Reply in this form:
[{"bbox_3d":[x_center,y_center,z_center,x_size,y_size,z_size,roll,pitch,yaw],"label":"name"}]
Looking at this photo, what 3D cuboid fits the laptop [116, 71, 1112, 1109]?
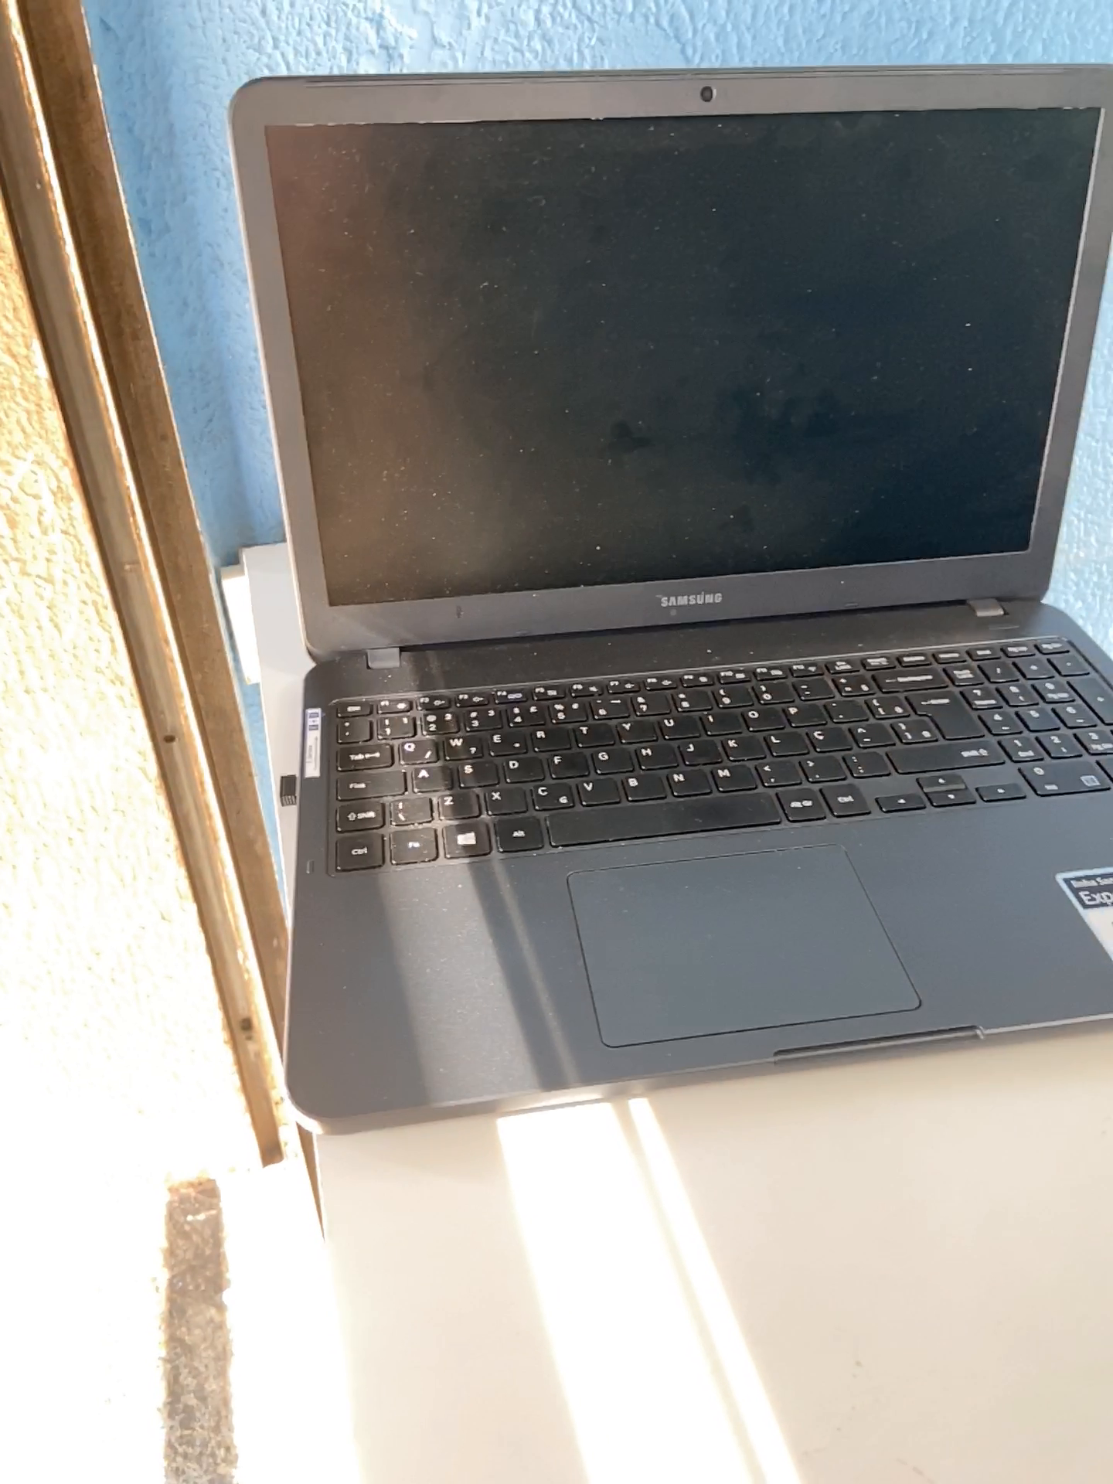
[{"bbox_3d":[0.081,-0.085,0.415,0.370,0.232,0.288,-6,38,-7],"label":"laptop"}]
